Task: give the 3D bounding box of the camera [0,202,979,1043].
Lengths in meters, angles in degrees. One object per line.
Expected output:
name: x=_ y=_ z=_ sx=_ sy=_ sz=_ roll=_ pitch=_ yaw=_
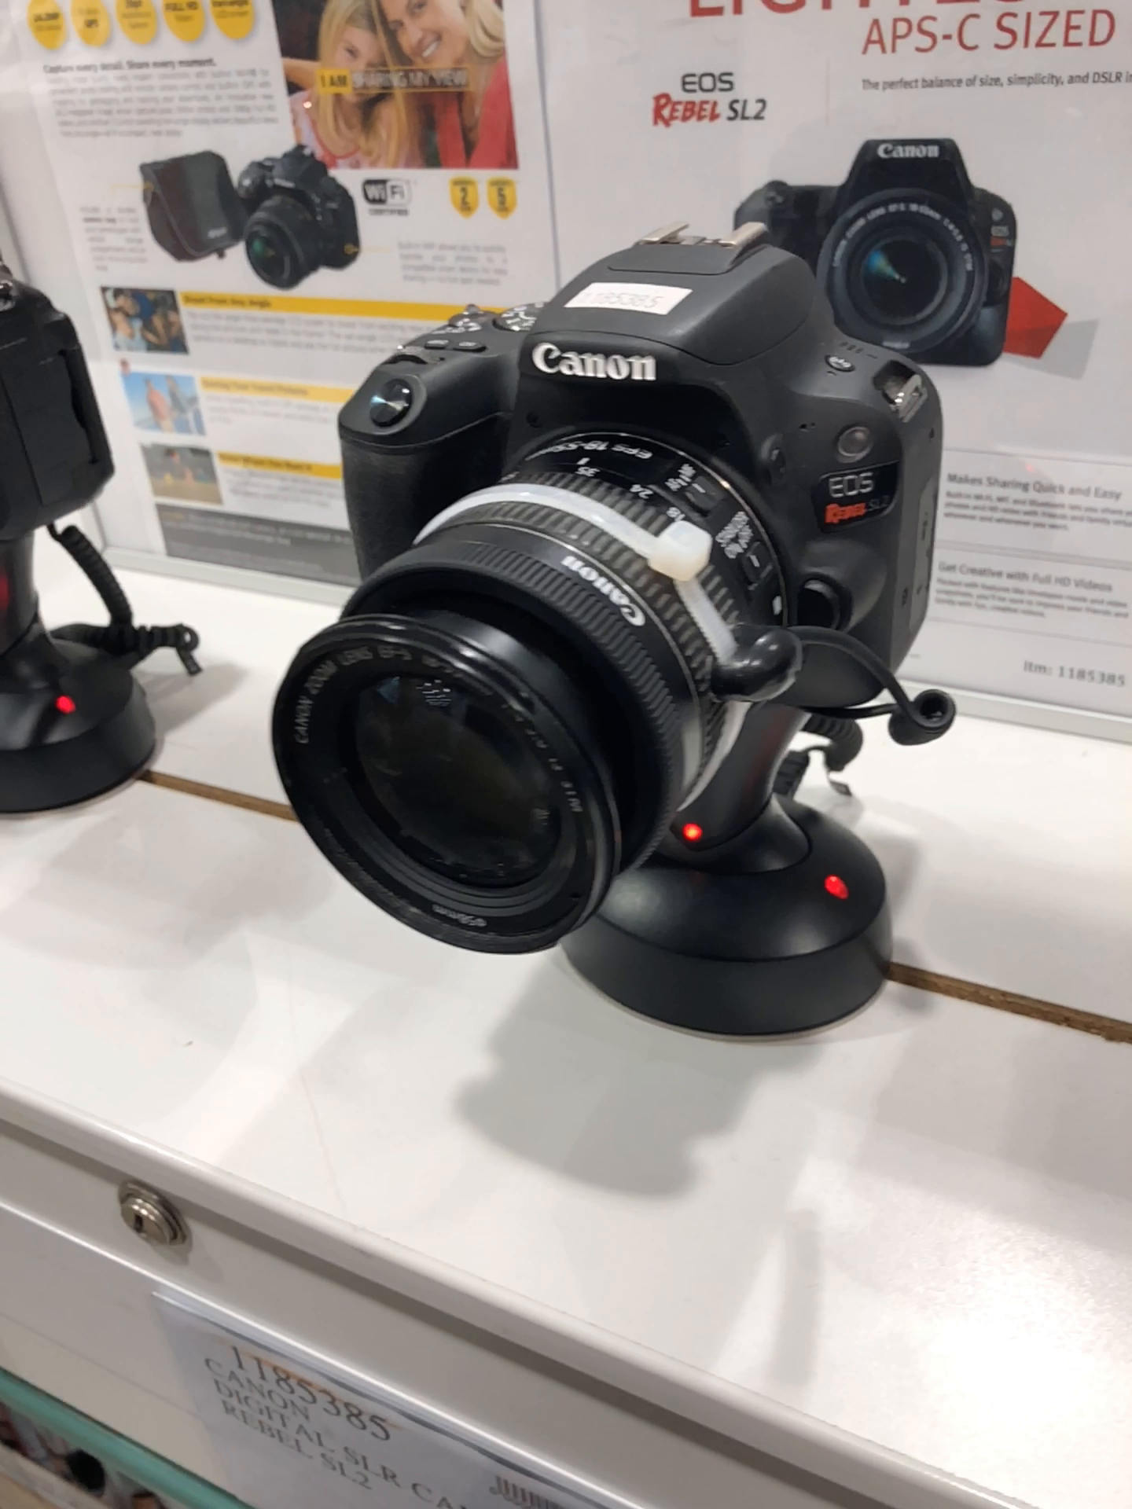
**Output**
camera: x=-0.006 y=-0.043 z=0.241 sx=0.130 sy=0.090 sz=0.140 roll=11 pitch=36 yaw=23
